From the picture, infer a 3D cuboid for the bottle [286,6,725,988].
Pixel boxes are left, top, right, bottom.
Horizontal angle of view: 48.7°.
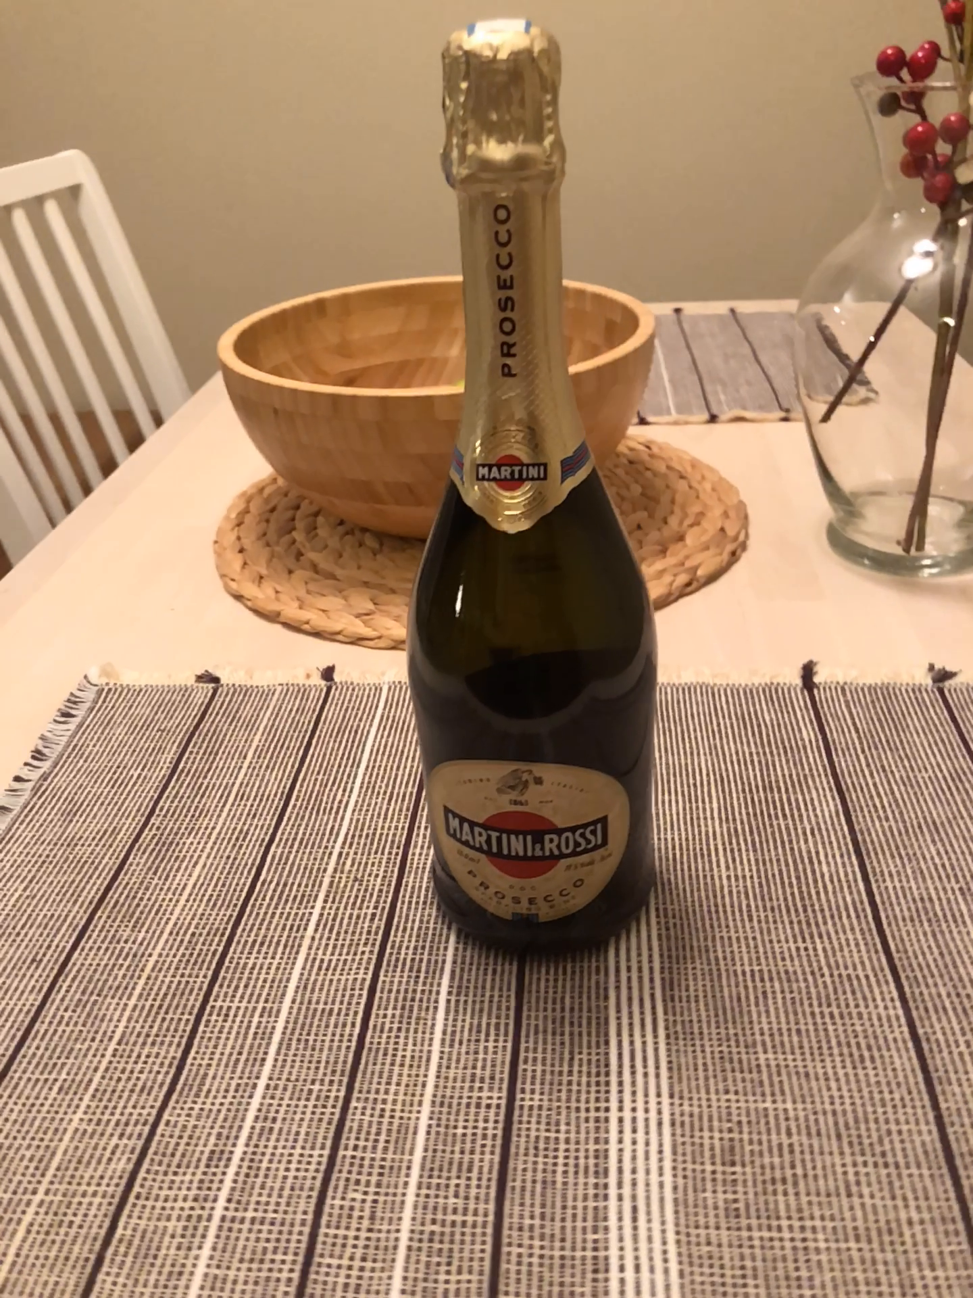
[{"bbox_3d":[0.020,-0.039,0.369,0.100,0.308,0.101,-3,30,1],"label":"bottle"}]
